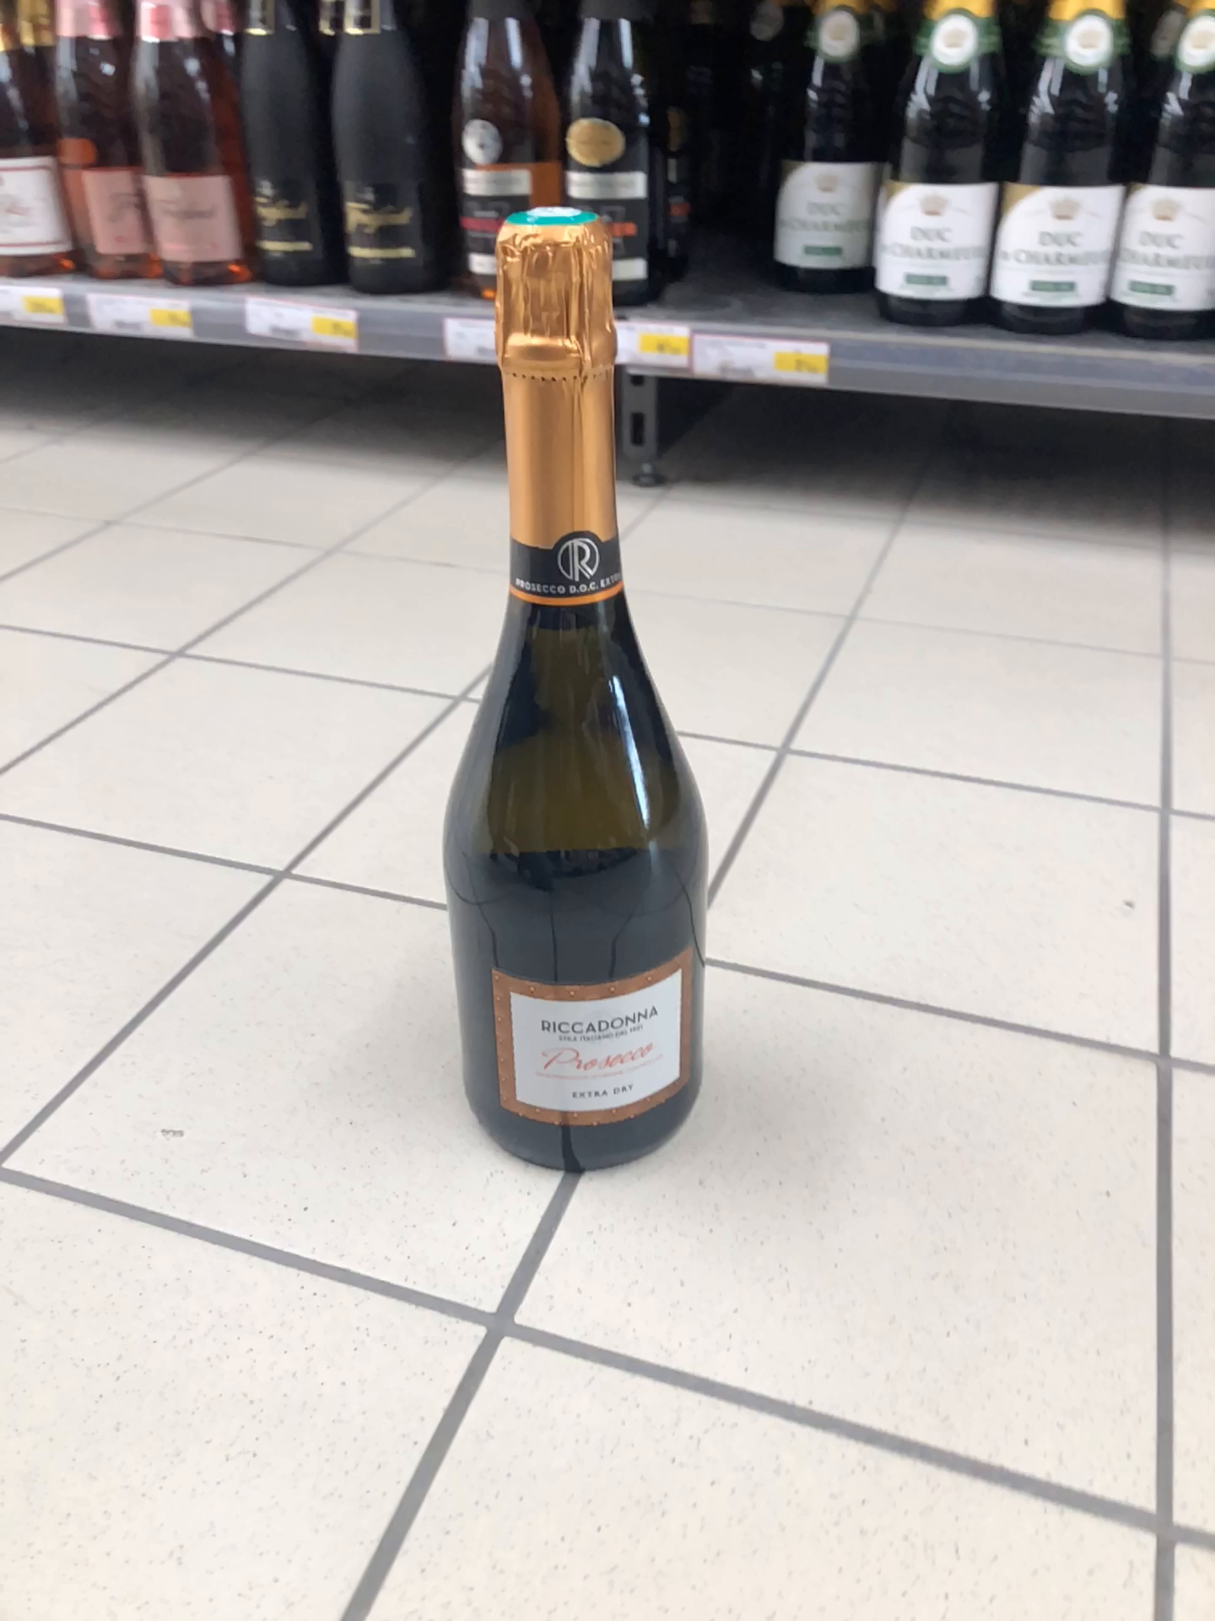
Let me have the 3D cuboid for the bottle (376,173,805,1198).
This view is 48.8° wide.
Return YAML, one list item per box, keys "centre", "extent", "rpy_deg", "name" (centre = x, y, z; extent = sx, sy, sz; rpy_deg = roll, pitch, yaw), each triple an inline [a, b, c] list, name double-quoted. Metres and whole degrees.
- centre: [-0.008, -0.029, 0.442]
  extent: [0.100, 0.318, 0.090]
  rpy_deg: [-7, 30, -11]
  name: "bottle"
